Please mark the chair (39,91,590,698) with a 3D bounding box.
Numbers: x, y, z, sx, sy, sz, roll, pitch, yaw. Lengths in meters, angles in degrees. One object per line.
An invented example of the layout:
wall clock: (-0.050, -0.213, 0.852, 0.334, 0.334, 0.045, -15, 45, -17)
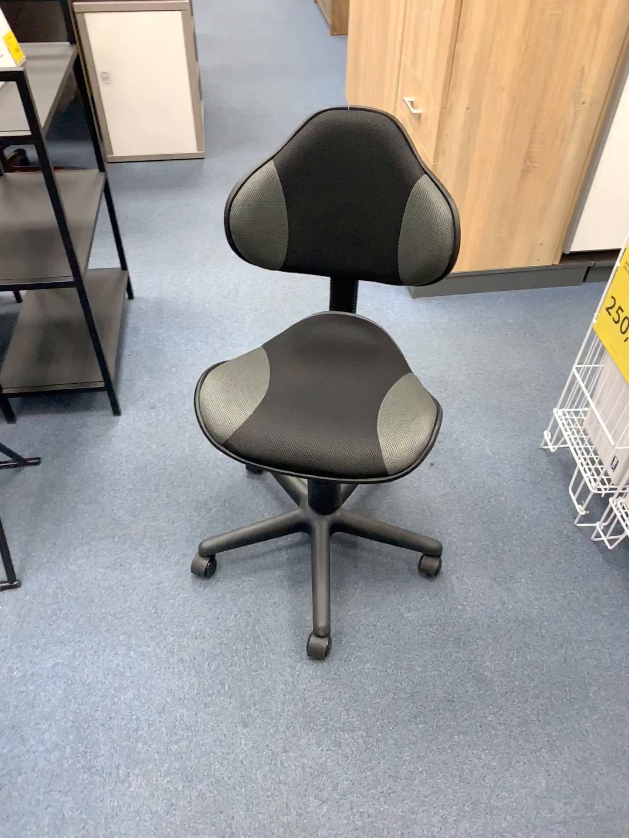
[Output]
chair: (0.040, -0.026, 1.287, 0.630, 0.916, 0.693, 8, 46, 7)
